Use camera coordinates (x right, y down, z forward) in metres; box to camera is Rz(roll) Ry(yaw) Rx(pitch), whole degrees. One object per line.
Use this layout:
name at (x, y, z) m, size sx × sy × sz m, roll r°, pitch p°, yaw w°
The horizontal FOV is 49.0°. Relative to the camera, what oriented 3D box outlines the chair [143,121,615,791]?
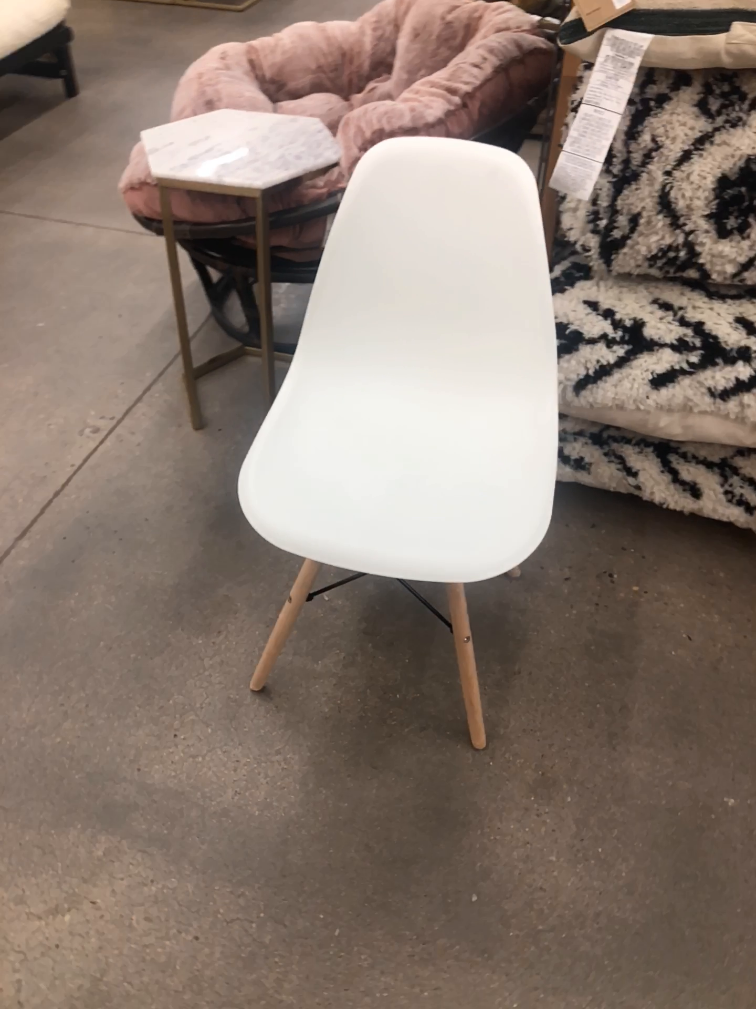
chair at (0.035, -0.057, 1.280) m, size 0.440 × 0.806 × 0.533 m, roll 12°, pitch 44°, yaw 11°
